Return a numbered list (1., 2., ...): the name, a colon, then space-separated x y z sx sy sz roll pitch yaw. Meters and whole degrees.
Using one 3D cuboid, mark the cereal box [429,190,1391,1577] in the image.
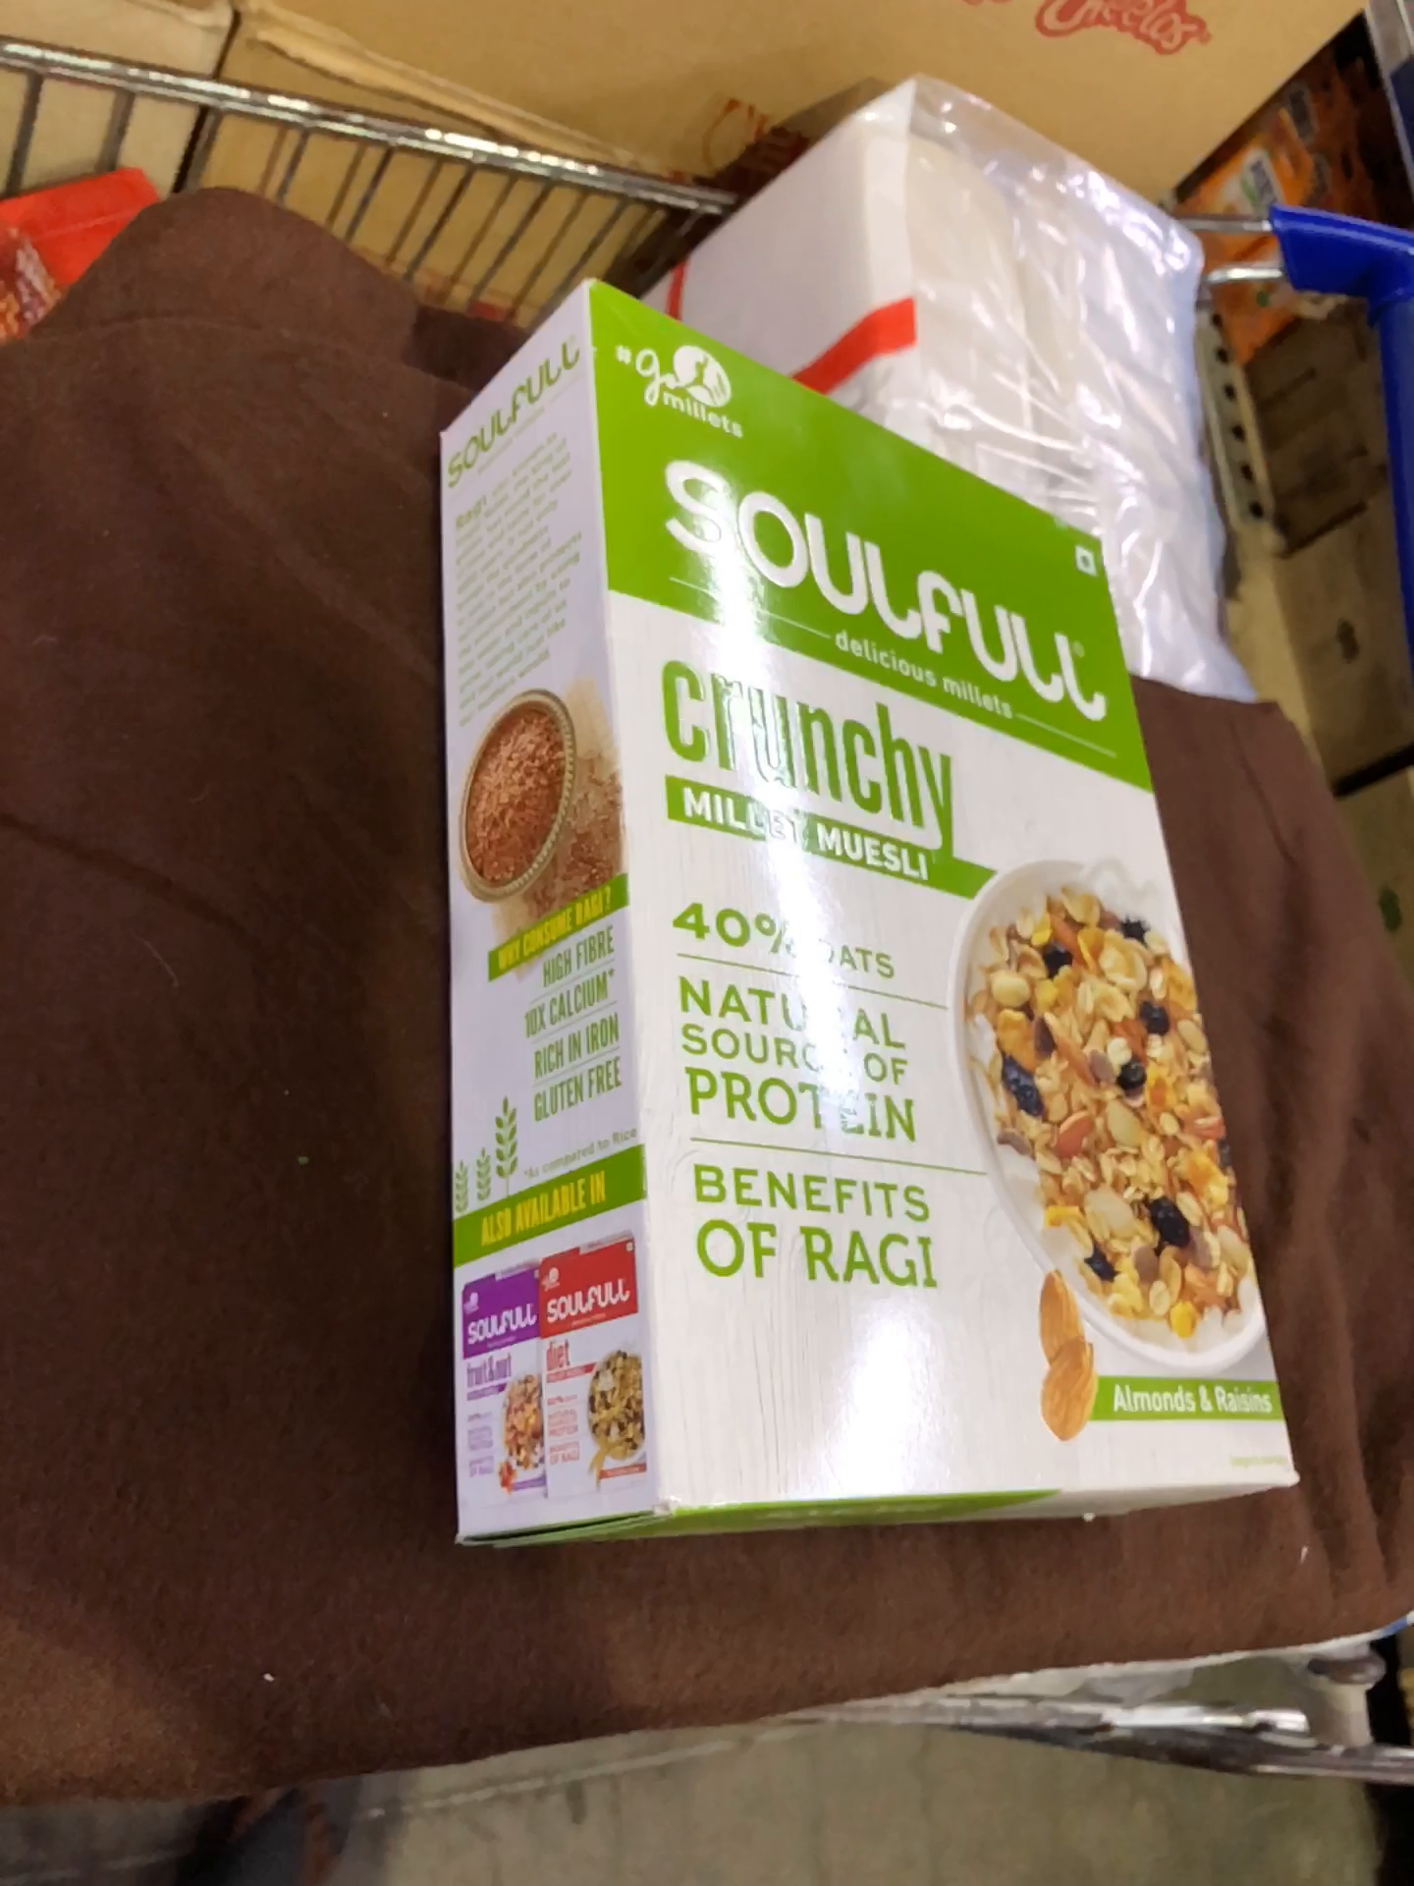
1. cereal box: 0.032 -0.009 0.316 0.160 0.060 0.241 12 60 -34
